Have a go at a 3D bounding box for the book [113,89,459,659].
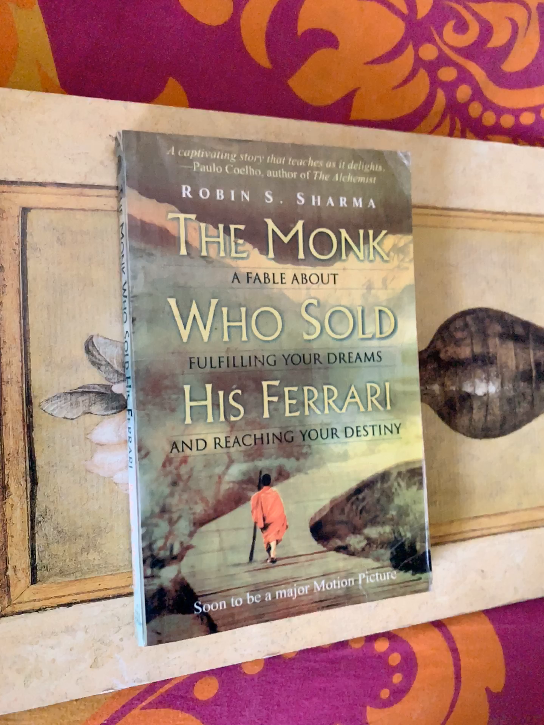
[{"bbox_3d":[0.008,0.000,0.235,0.130,0.030,0.200,-3,89,-20],"label":"book"}]
